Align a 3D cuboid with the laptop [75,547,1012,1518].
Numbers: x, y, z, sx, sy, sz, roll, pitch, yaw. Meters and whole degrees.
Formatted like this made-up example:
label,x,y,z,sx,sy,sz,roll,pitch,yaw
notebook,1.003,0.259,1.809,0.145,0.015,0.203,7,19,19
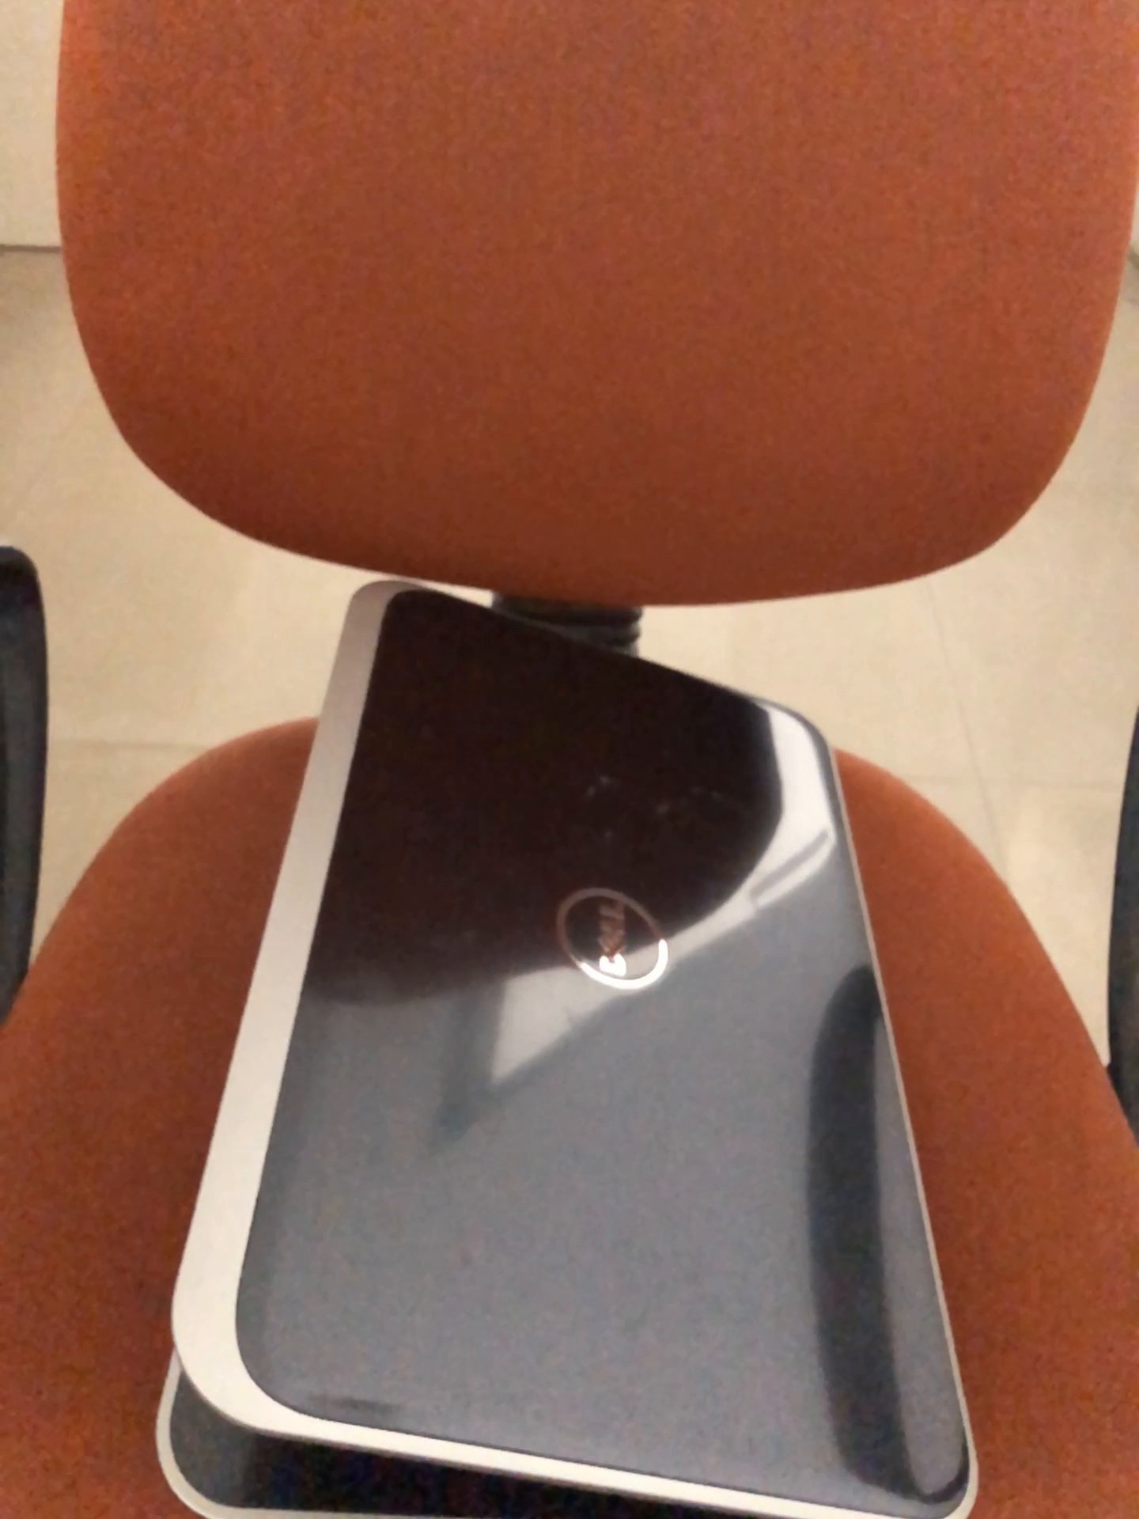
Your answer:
label,x,y,z,sx,sy,sz,roll,pitch,yaw
laptop,-0.002,0.066,0.484,0.233,0.090,0.368,4,42,-2
